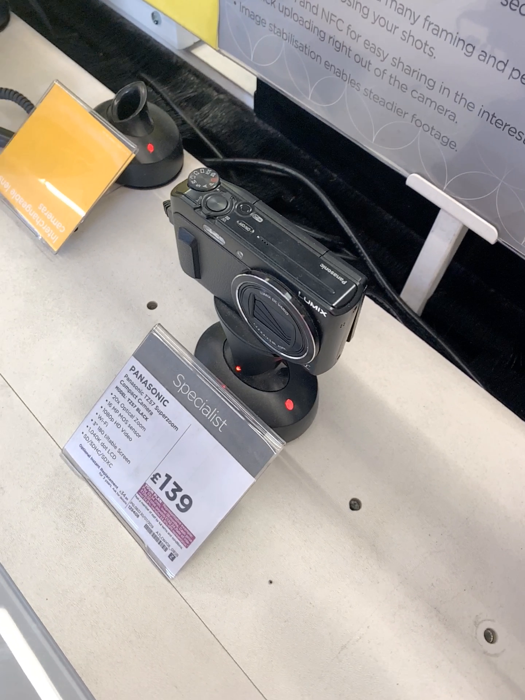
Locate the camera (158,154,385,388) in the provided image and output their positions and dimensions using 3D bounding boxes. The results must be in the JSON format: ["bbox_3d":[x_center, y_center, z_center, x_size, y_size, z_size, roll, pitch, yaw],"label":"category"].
[{"bbox_3d":[0.000,-0.039,0.269,0.111,0.060,0.030,39,66,18],"label":"camera"}]
